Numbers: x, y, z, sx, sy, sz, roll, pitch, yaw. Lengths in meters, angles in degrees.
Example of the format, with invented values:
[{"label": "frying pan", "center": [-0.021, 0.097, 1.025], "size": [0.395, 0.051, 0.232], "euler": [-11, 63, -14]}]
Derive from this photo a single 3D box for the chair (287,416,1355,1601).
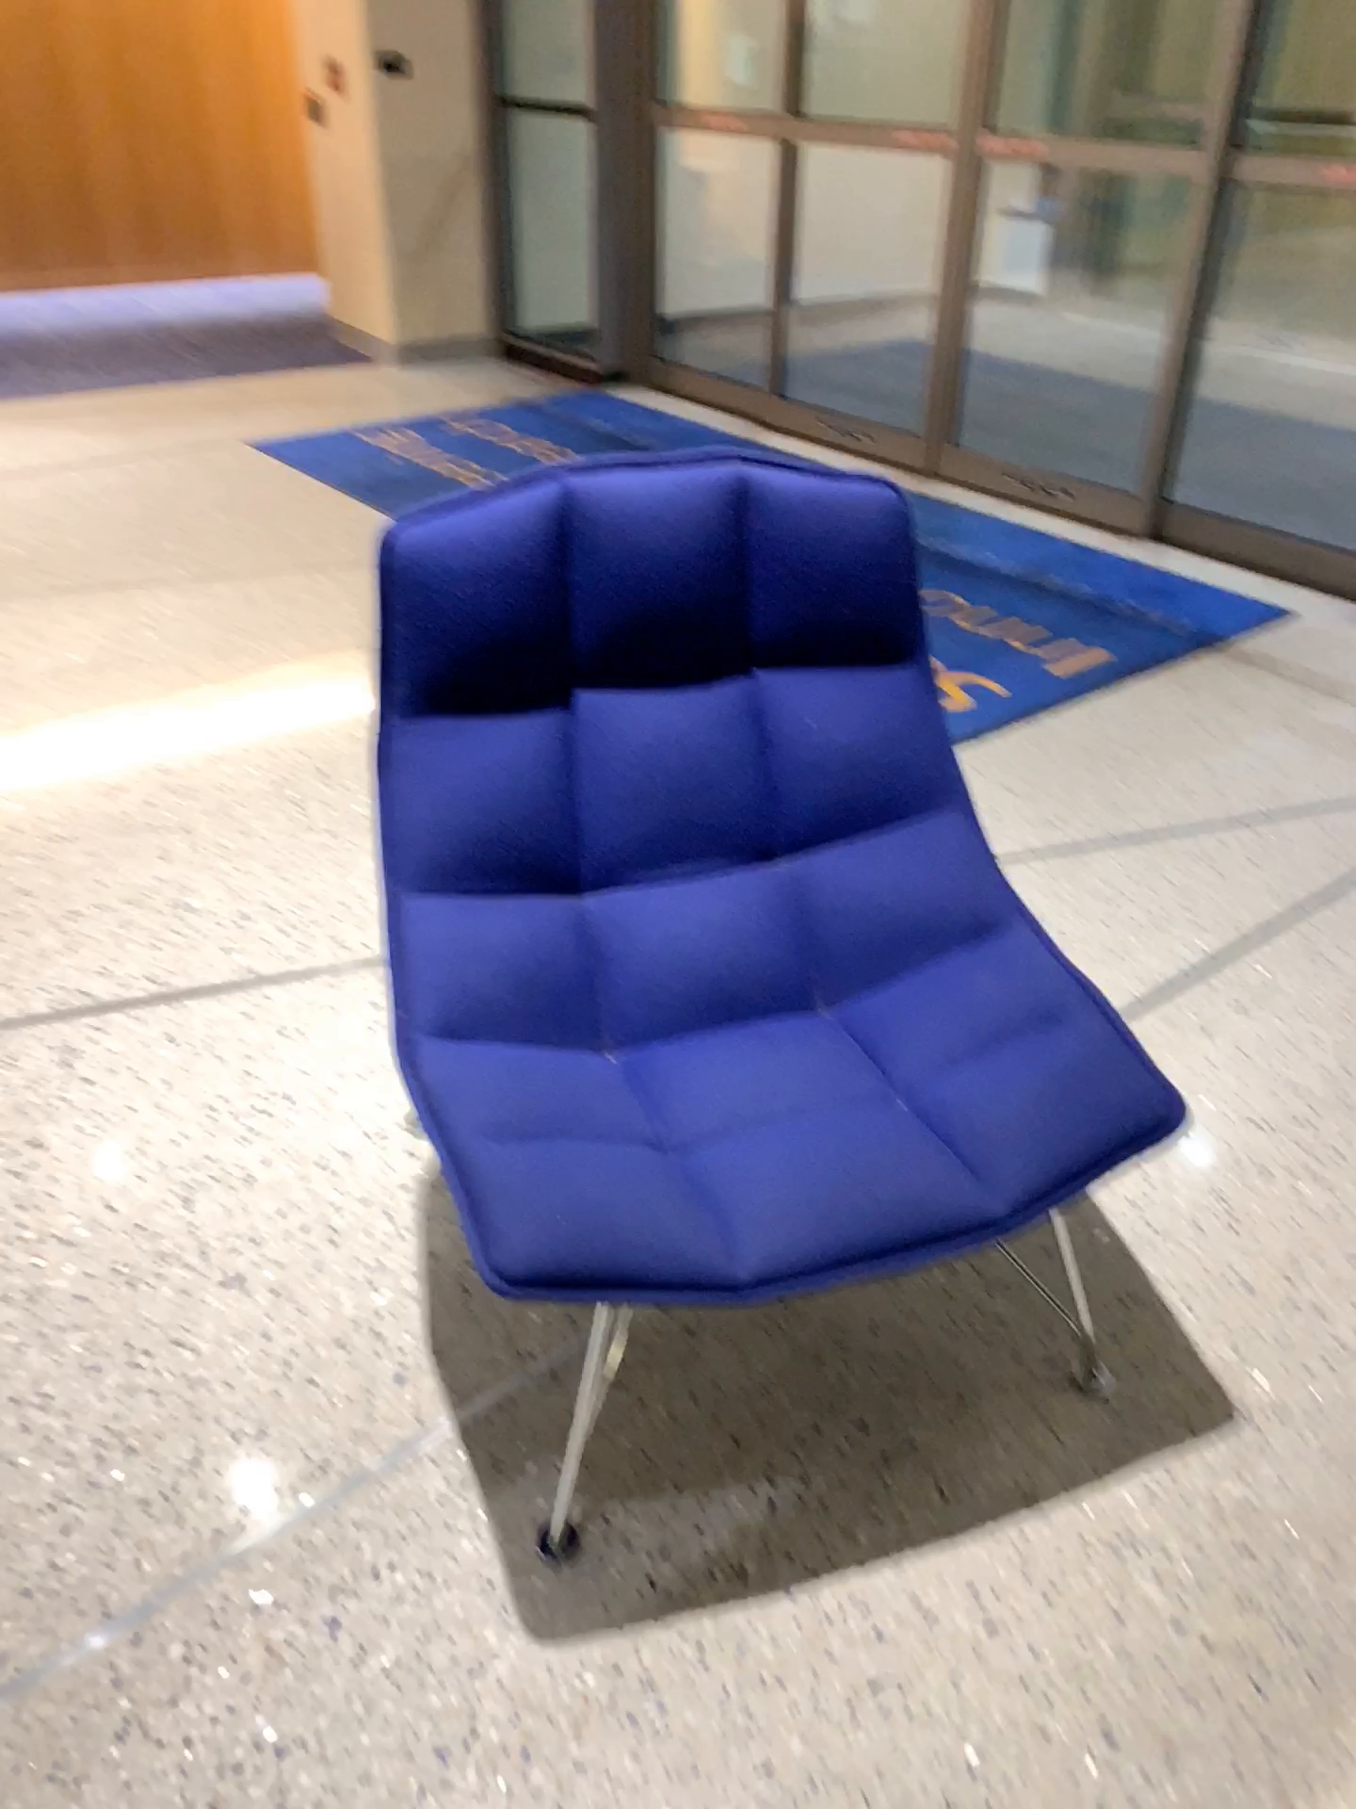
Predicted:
[{"label": "chair", "center": [0.093, 0.029, 1.549], "size": [0.855, 0.893, 0.800], "euler": [-9, 33, -16]}]
